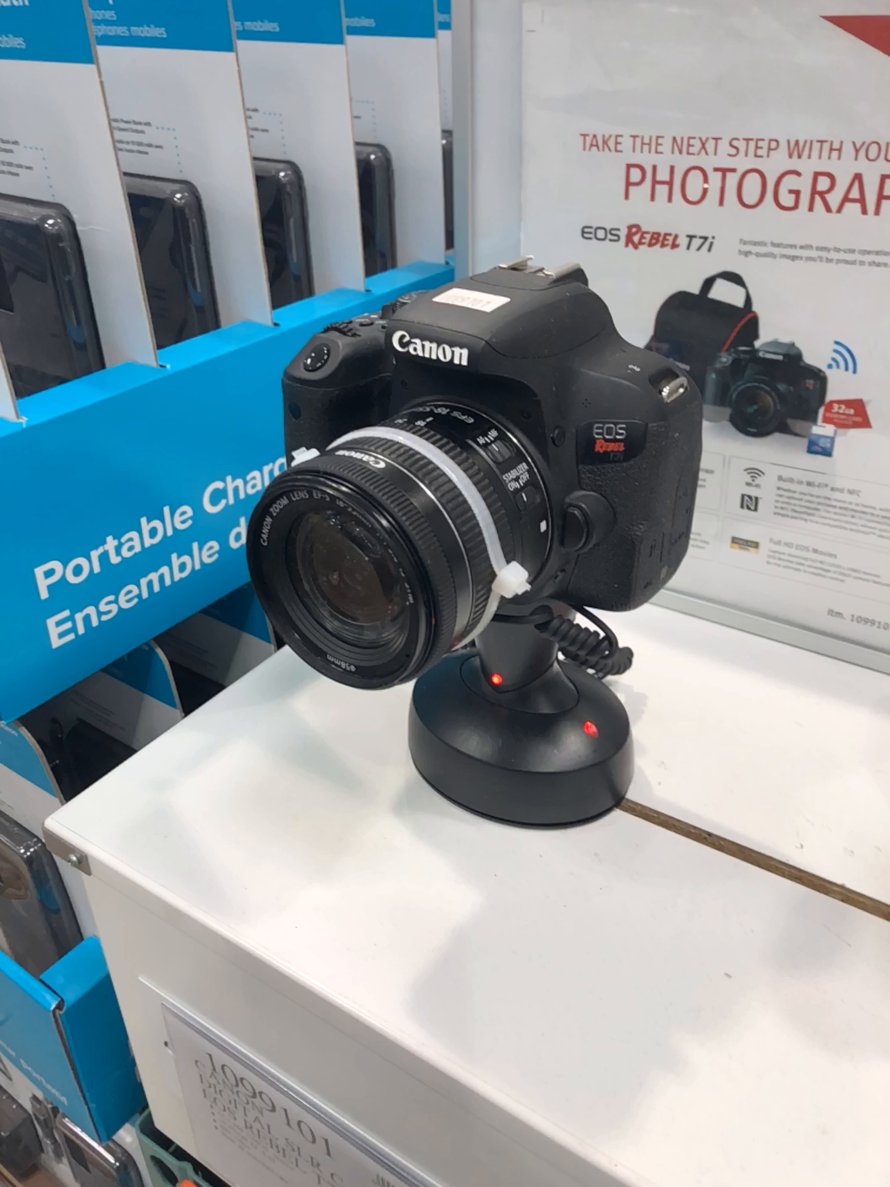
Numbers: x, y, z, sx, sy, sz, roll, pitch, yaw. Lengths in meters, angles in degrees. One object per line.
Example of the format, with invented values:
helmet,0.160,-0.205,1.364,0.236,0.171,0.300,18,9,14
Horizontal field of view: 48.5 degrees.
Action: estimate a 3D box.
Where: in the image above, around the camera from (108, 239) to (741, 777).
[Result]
camera,0.002,-0.044,0.324,0.130,0.100,0.150,18,36,28
